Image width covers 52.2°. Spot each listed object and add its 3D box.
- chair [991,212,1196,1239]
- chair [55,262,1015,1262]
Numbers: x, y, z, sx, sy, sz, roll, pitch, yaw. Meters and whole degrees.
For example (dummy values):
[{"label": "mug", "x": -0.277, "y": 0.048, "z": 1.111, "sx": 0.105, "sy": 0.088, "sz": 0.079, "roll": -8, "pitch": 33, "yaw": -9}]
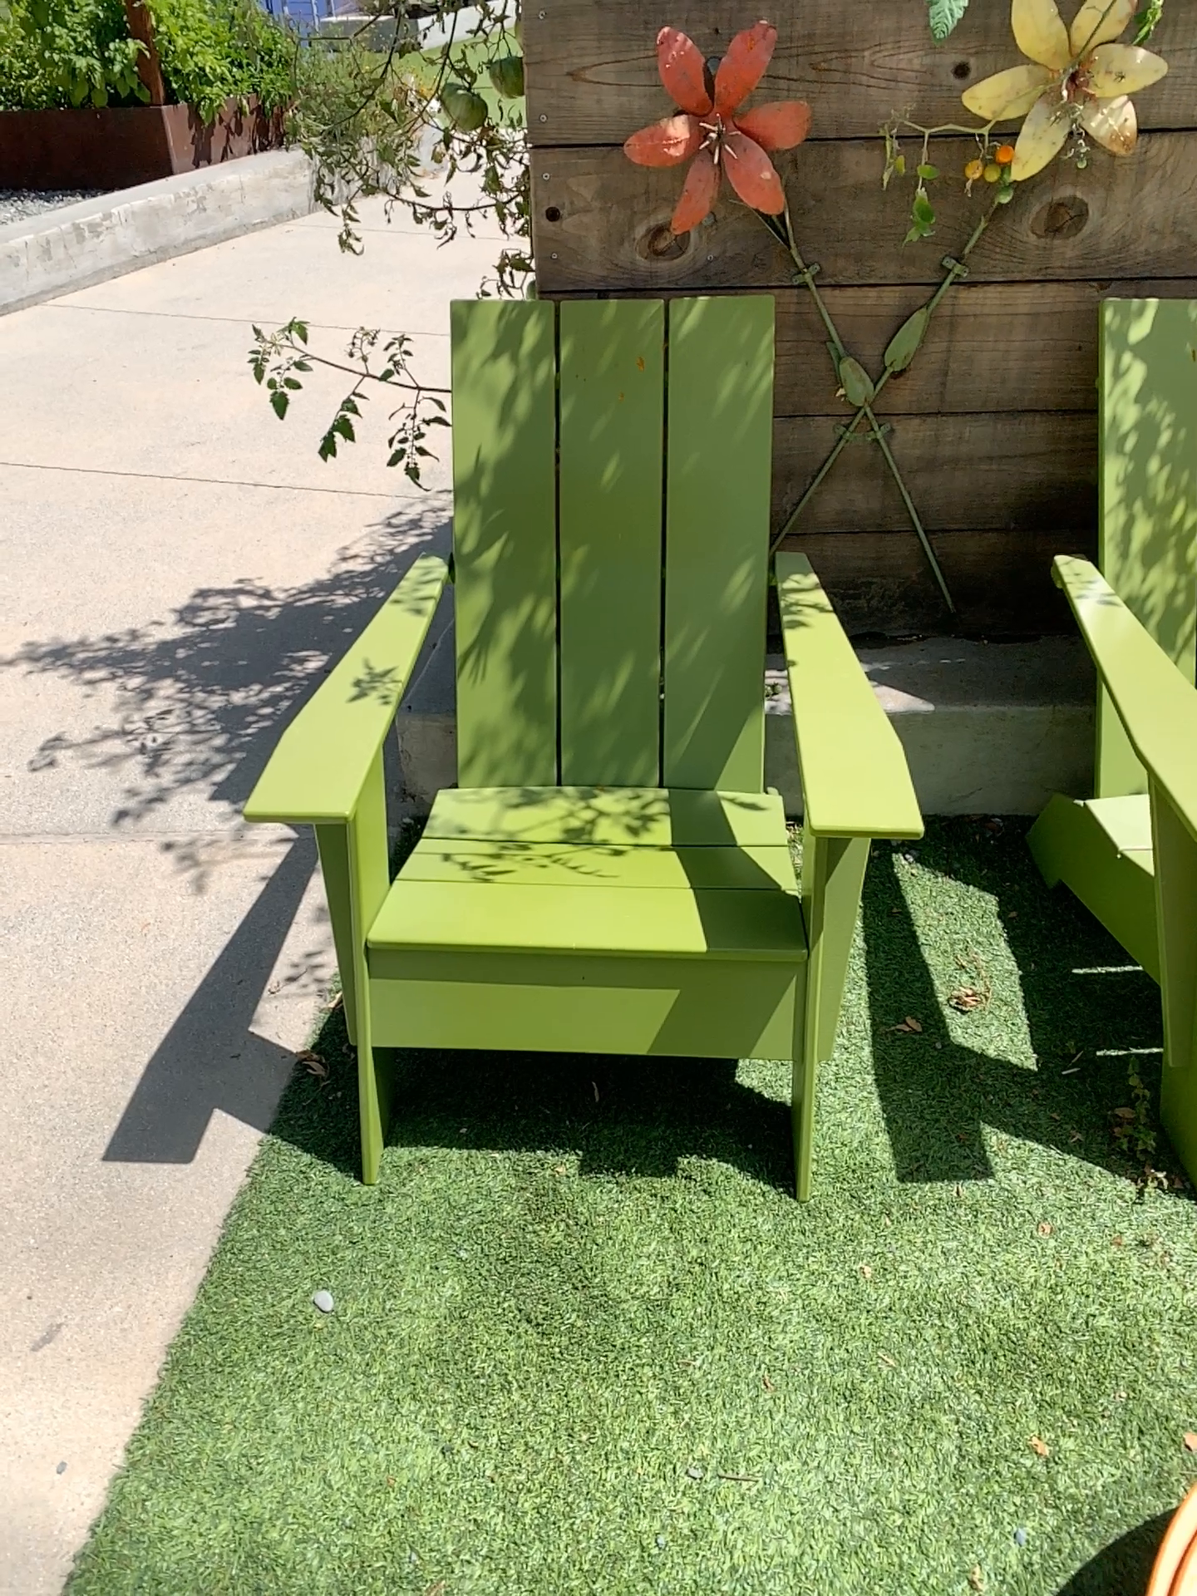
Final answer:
[{"label": "chair", "x": 0.970, "y": -0.152, "z": 1.564, "sx": 0.680, "sy": 0.986, "sz": 0.894, "roll": -2, "pitch": 22, "yaw": 6}, {"label": "chair", "x": -0.017, "y": -0.117, "z": 1.461, "sx": 0.680, "sy": 0.835, "sz": 0.905, "roll": 1, "pitch": 31, "yaw": 4}]
